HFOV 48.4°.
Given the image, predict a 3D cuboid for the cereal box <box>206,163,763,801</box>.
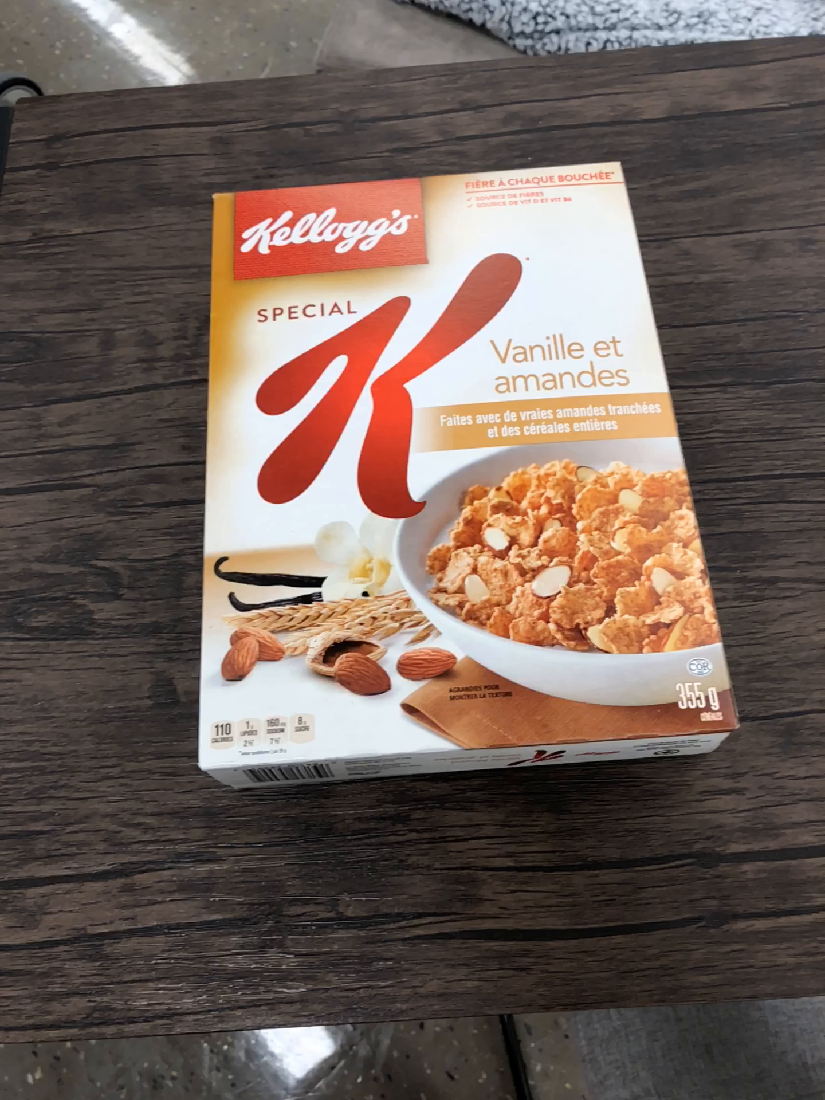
[{"bbox_3d":[0.018,-0.038,0.407,0.200,0.060,0.270,-4,68,0],"label":"cereal box"}]
